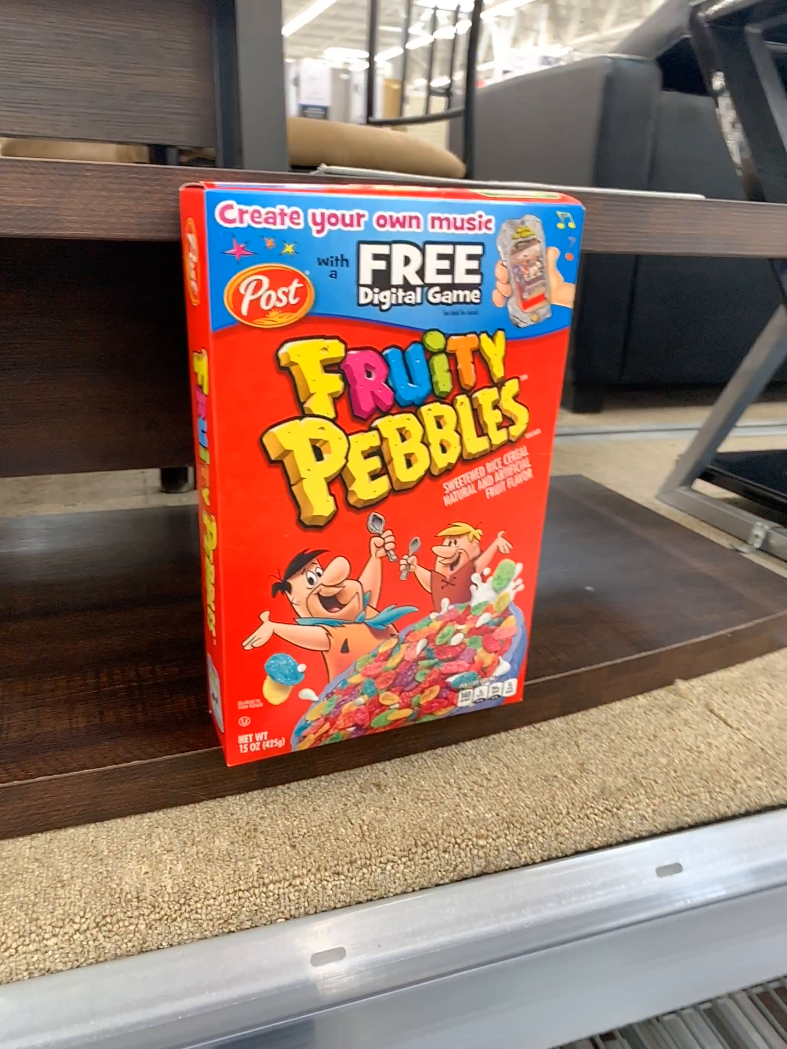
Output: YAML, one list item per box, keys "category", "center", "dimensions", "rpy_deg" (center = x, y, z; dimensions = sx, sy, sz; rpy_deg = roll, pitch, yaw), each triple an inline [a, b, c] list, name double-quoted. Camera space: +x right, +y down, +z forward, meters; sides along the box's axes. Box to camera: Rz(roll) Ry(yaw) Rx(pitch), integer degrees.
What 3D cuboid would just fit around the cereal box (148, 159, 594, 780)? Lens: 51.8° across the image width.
- category: "cereal box"
  center: [-0.014, -0.027, 0.450]
  dimensions: [0.210, 0.308, 0.060]
  rpy_deg: [-6, 23, -22]
